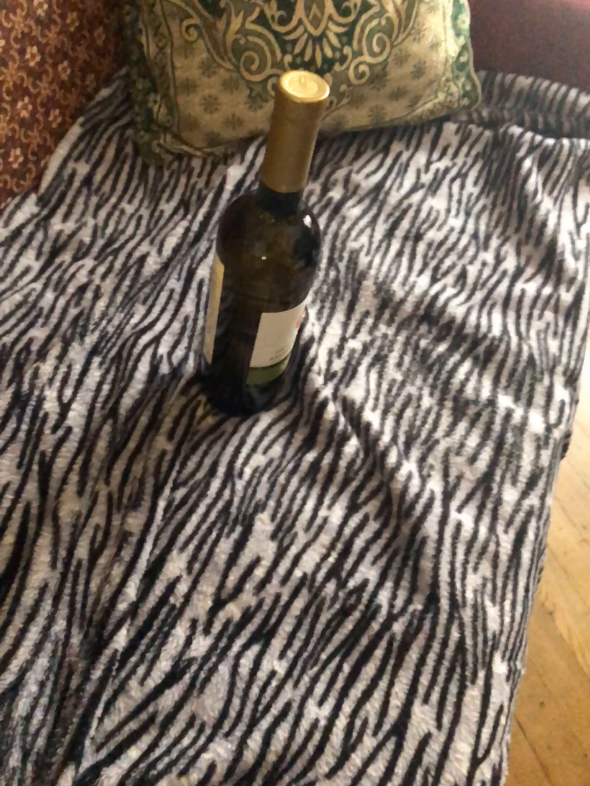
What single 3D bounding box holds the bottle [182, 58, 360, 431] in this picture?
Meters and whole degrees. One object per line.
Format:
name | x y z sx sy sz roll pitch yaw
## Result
bottle | -0.028 -0.083 0.474 0.080 0.269 0.080 4 57 -6
